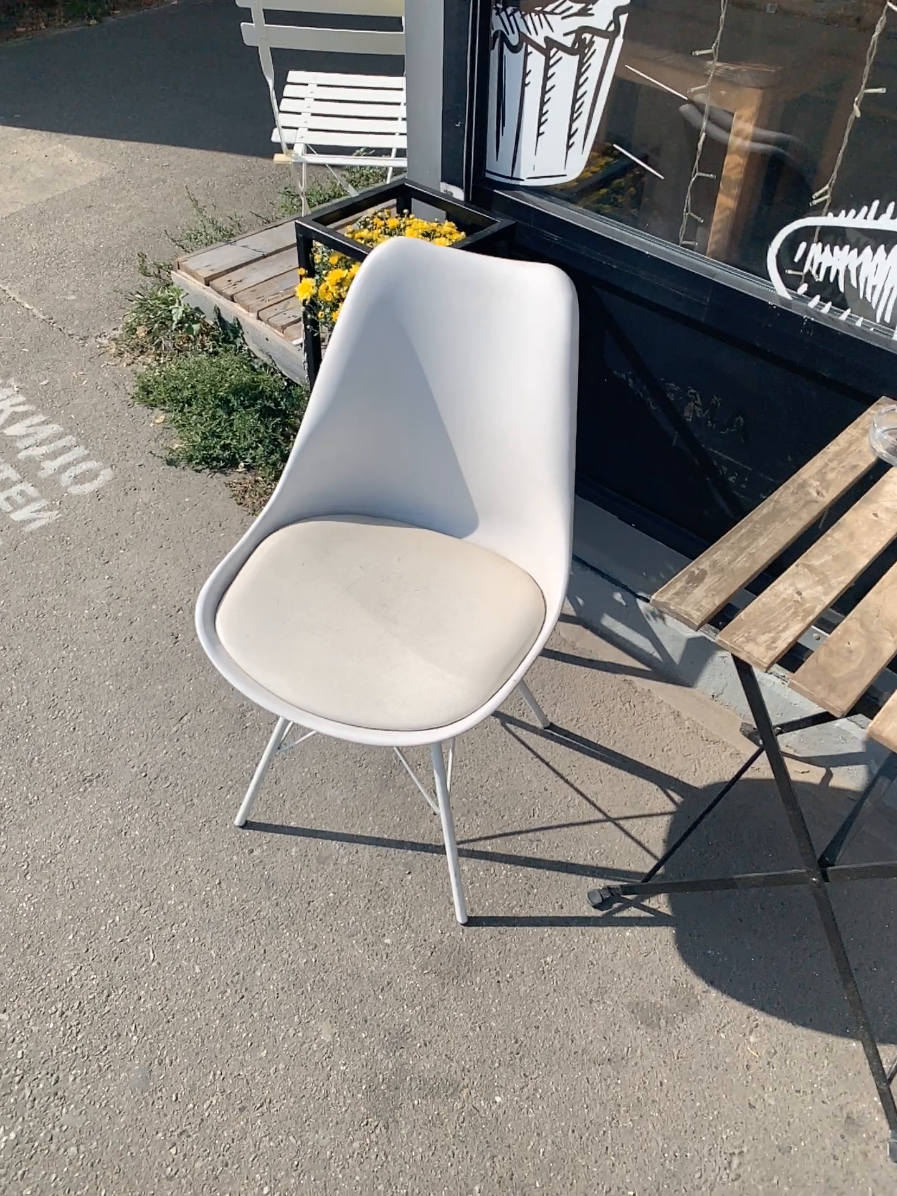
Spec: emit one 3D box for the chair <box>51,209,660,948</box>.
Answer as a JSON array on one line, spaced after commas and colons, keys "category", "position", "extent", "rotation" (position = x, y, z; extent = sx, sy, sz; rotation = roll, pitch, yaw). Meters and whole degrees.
[{"category": "chair", "position": [-0.067, -0.008, 1.264], "extent": [0.480, 0.777, 0.532], "rotation": [15, 47, 13]}]
